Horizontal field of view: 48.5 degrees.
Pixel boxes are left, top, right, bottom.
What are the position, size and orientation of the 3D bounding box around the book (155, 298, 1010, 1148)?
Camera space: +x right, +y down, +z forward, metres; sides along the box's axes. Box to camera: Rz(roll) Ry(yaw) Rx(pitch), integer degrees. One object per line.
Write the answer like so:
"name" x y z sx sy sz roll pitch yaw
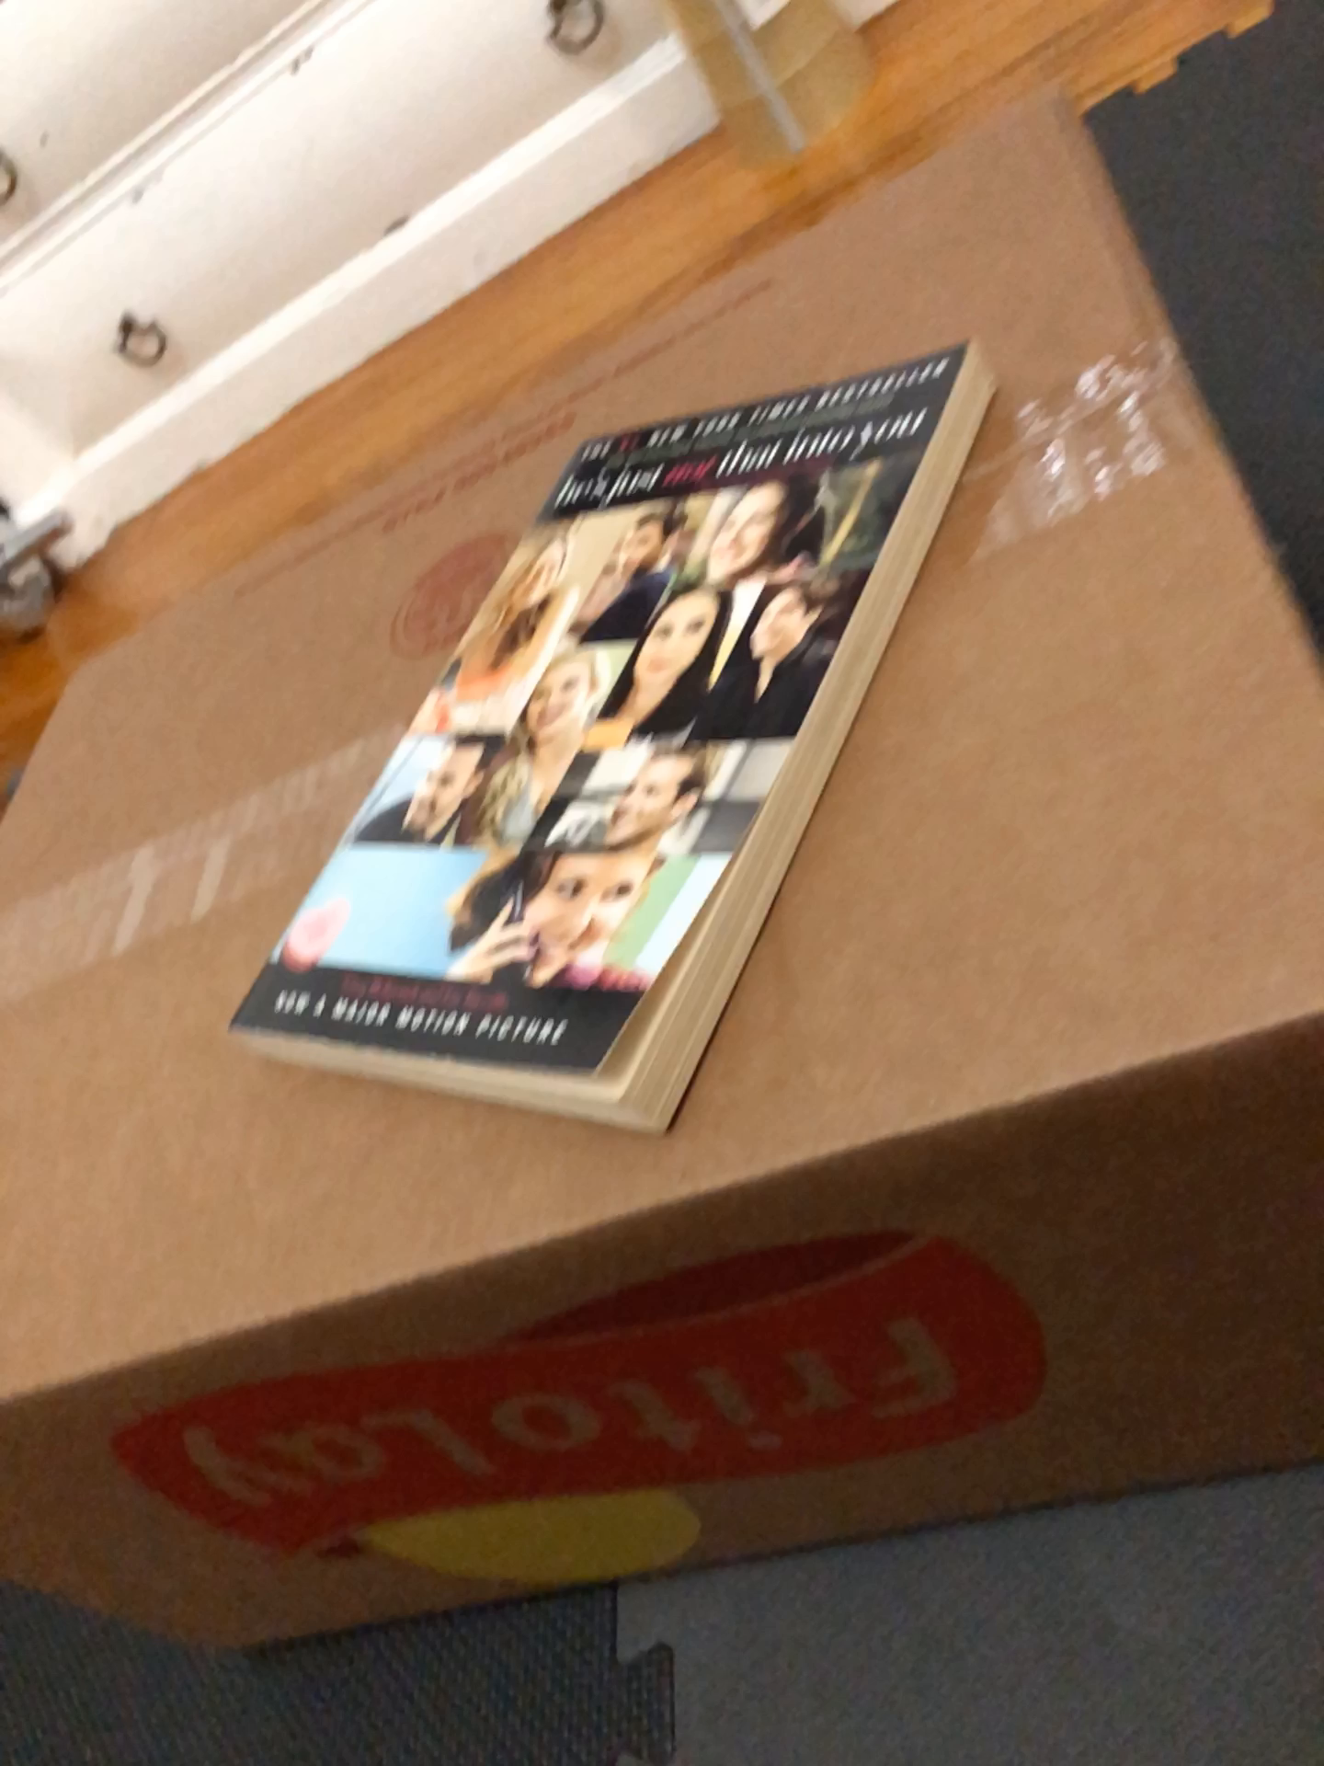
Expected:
"book" -0.020 -0.045 0.359 0.160 0.020 0.211 1 56 41
